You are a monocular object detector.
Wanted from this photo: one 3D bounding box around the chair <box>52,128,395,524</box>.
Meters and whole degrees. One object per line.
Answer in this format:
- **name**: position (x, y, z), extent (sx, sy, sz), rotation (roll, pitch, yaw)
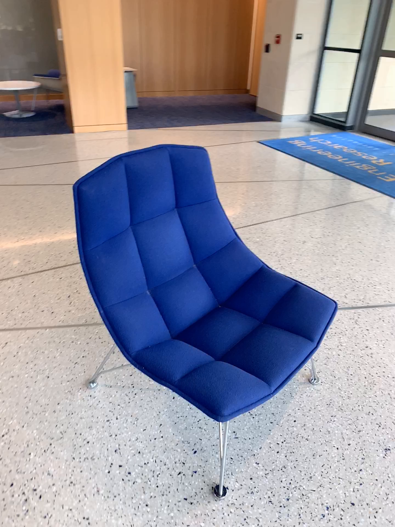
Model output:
- **chair**: position (0.101, 0.111, 1.535), extent (0.831, 0.963, 0.802), rotation (25, 37, 34)
